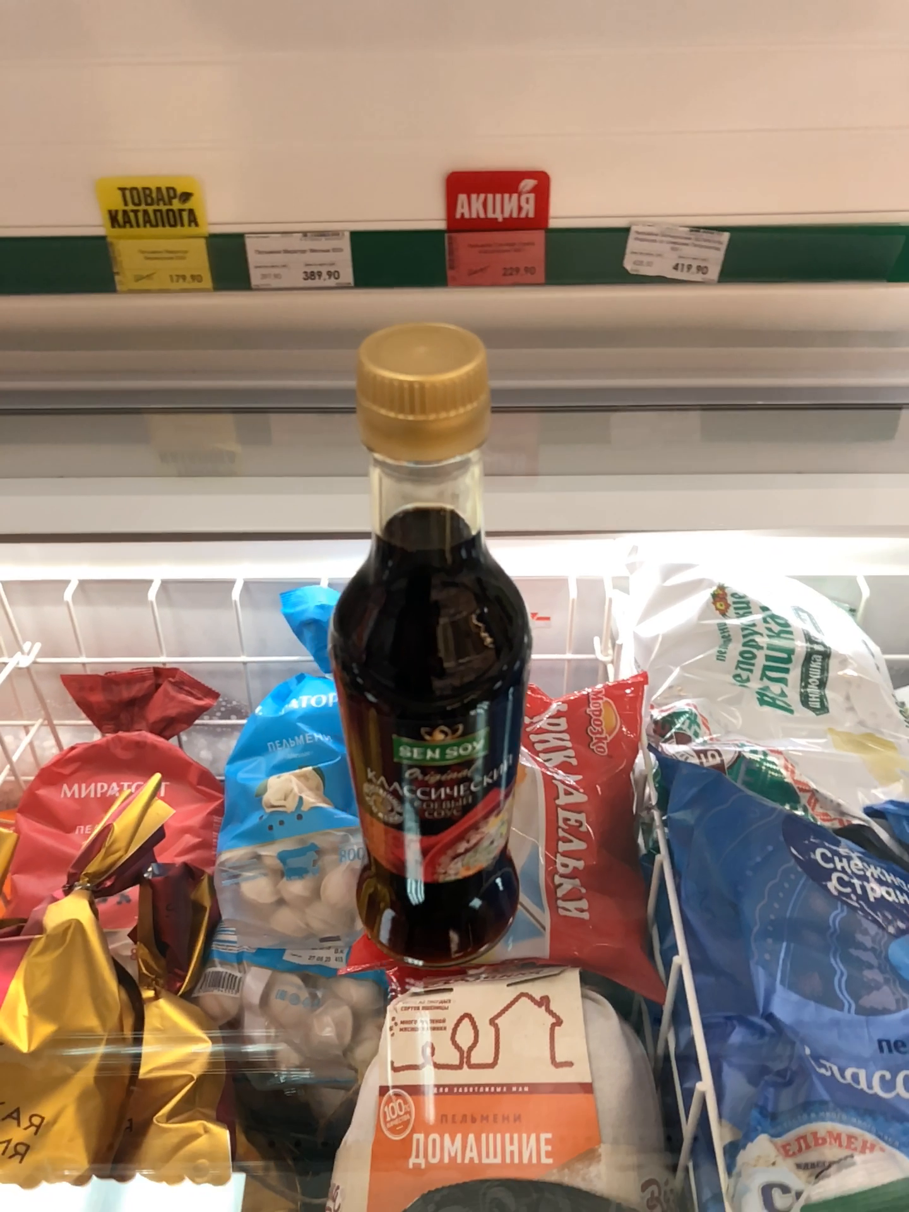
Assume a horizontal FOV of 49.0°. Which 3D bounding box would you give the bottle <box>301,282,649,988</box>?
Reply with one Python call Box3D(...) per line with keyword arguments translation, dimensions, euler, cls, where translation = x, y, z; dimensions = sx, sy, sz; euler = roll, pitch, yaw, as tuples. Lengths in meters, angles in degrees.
Box3D(translation=(0.000, 0.019, 0.274), dimensions=(0.058, 0.192, 0.060), euler=(1, 39, -1), cls="bottle")
